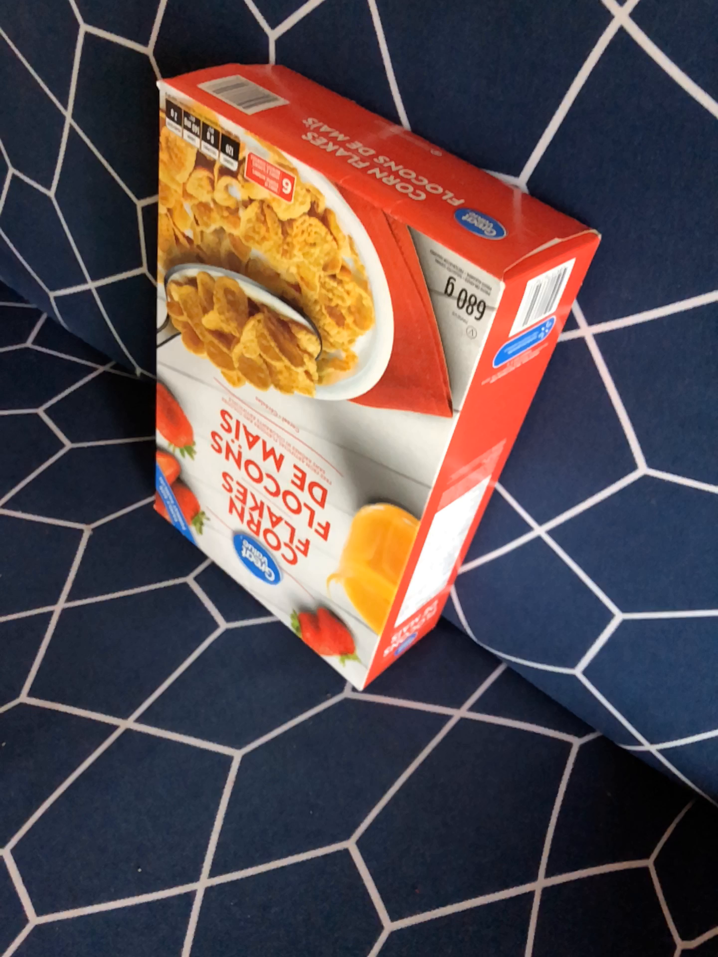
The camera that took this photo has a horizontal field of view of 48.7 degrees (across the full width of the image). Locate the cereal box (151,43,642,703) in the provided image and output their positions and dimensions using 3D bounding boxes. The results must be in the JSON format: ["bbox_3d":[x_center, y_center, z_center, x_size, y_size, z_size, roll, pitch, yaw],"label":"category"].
[{"bbox_3d":[-0.013,-0.052,0.483,0.221,0.318,0.100,37,46,23],"label":"cereal box"}]
